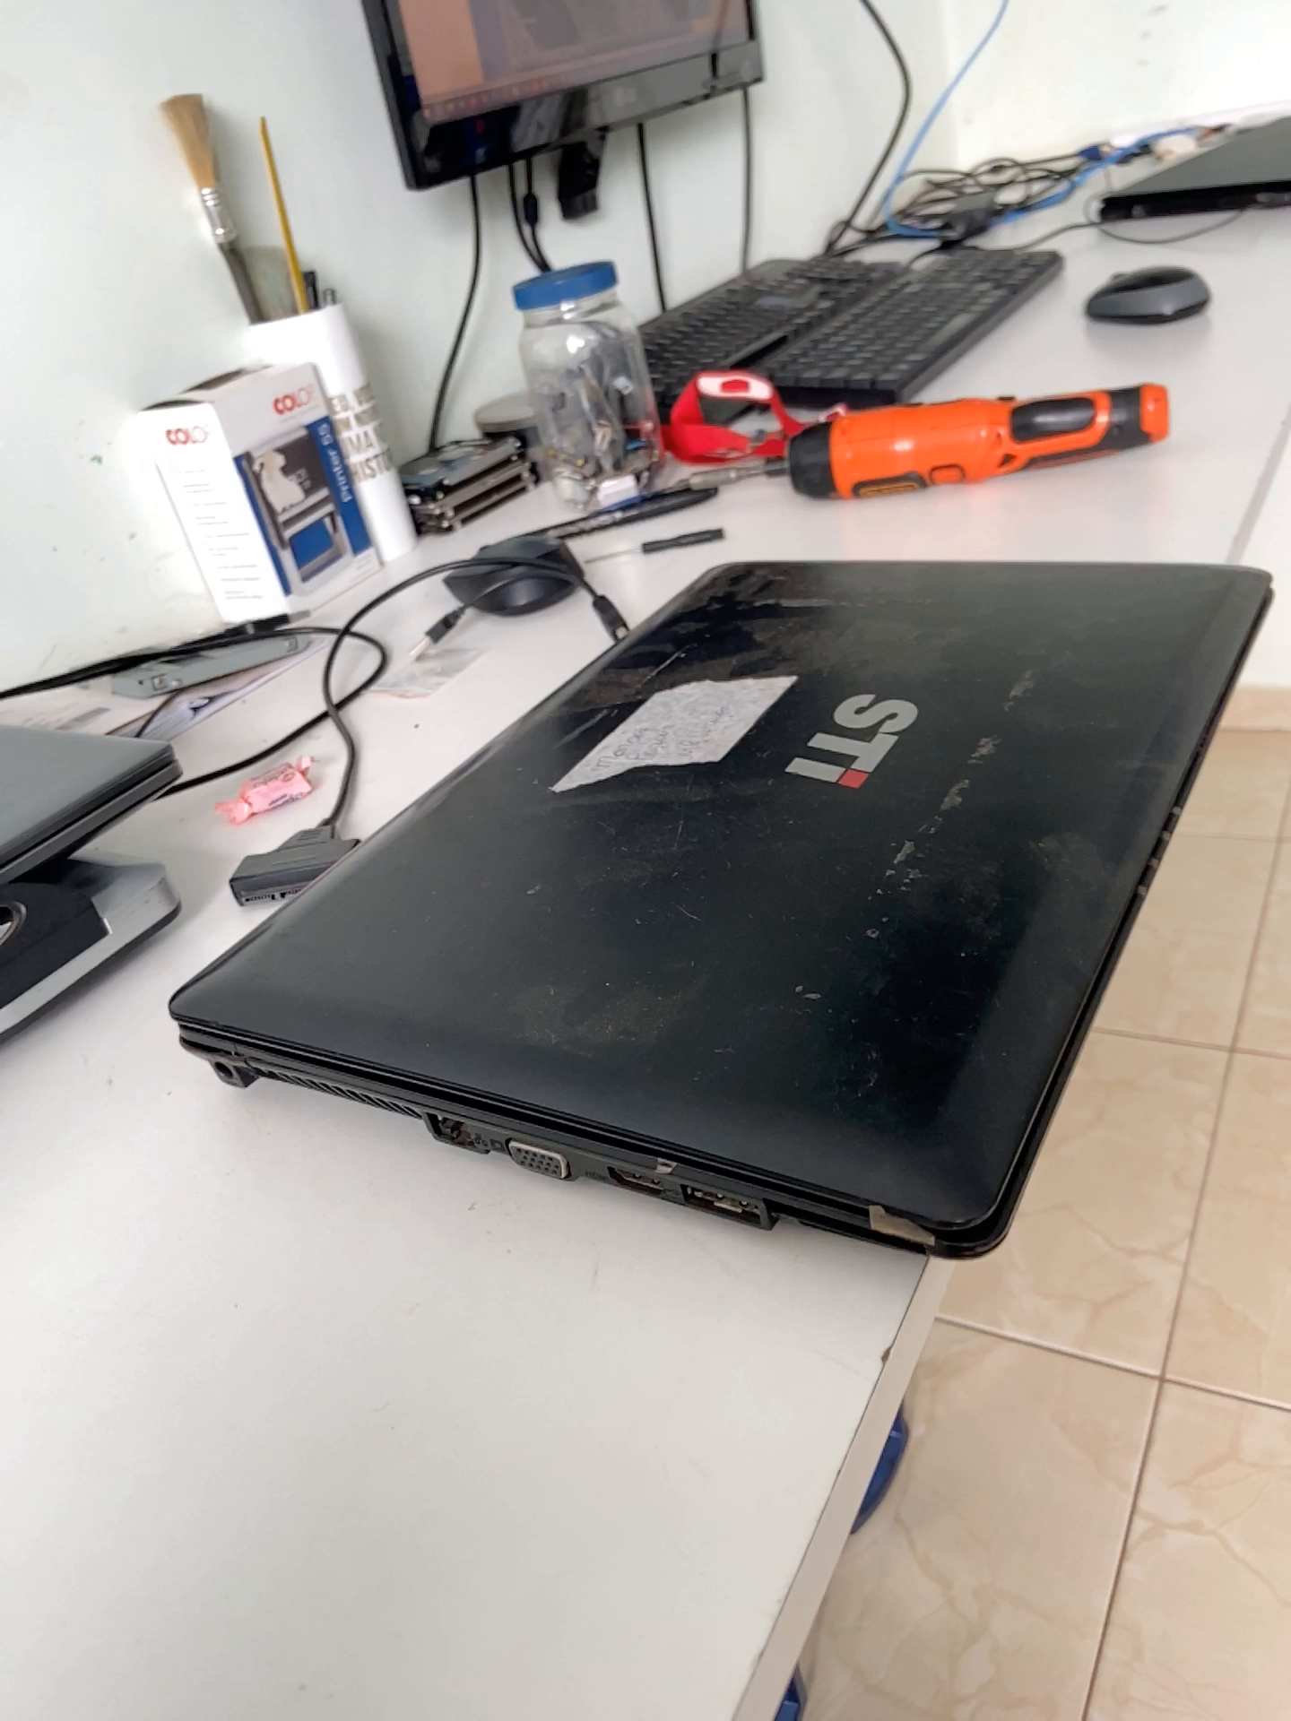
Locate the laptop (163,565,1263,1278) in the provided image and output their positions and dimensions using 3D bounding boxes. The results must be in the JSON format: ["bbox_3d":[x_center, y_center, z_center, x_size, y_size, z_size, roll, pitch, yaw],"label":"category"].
[{"bbox_3d":[0.048,-0.027,0.432,0.230,0.011,0.338,9,36,30],"label":"laptop"}]

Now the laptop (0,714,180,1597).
[{"bbox_3d":[-0.346,0.030,0.408,0.227,0.006,0.345,5,31,28],"label":"laptop"}]
